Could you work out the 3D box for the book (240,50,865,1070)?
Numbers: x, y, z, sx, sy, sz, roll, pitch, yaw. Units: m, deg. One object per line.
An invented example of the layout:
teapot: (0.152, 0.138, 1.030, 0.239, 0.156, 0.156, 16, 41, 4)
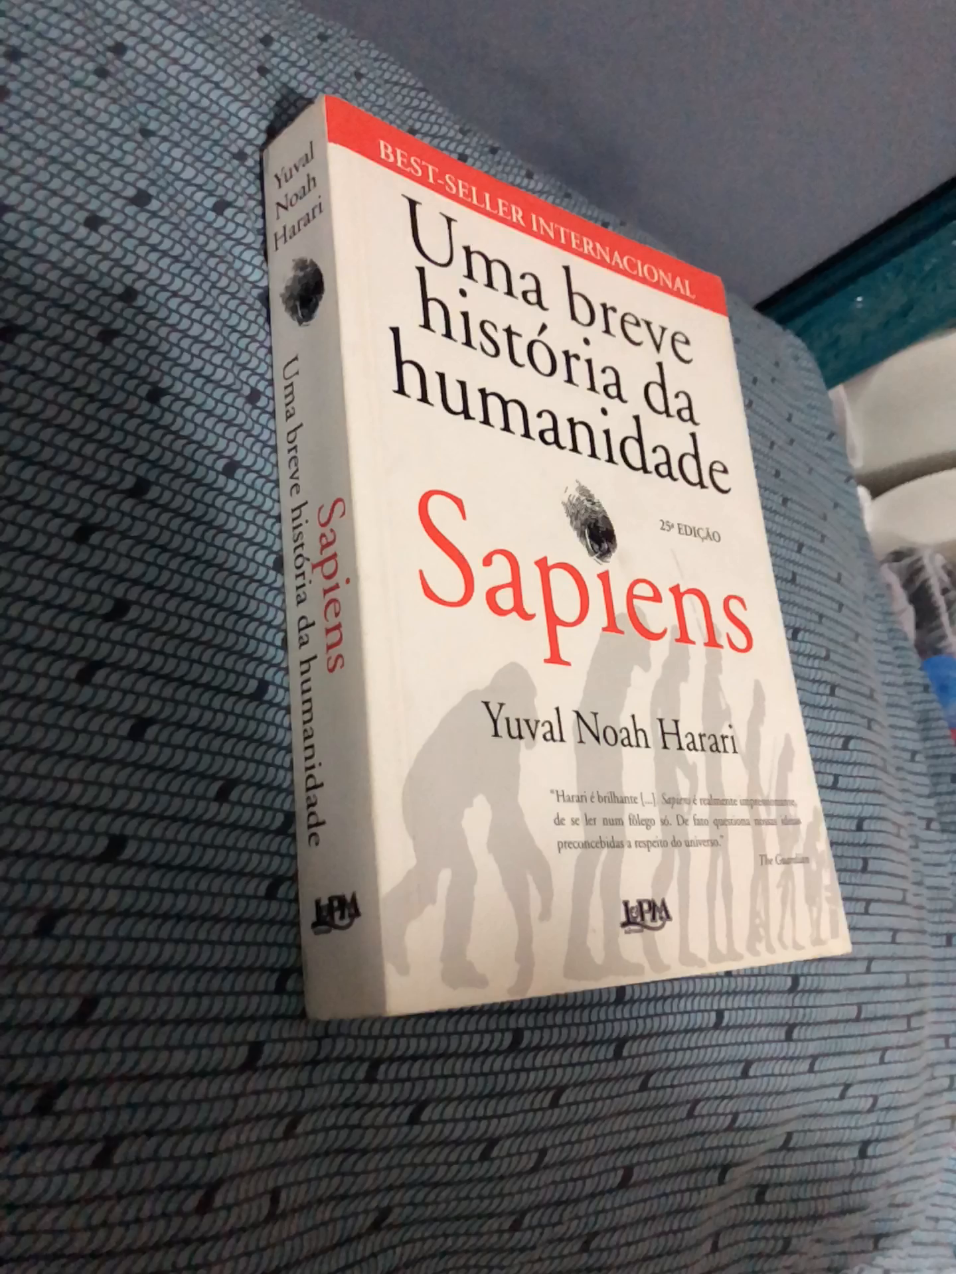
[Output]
book: (0.021, -0.020, 0.297, 0.161, 0.040, 0.240, 8, 67, -39)
